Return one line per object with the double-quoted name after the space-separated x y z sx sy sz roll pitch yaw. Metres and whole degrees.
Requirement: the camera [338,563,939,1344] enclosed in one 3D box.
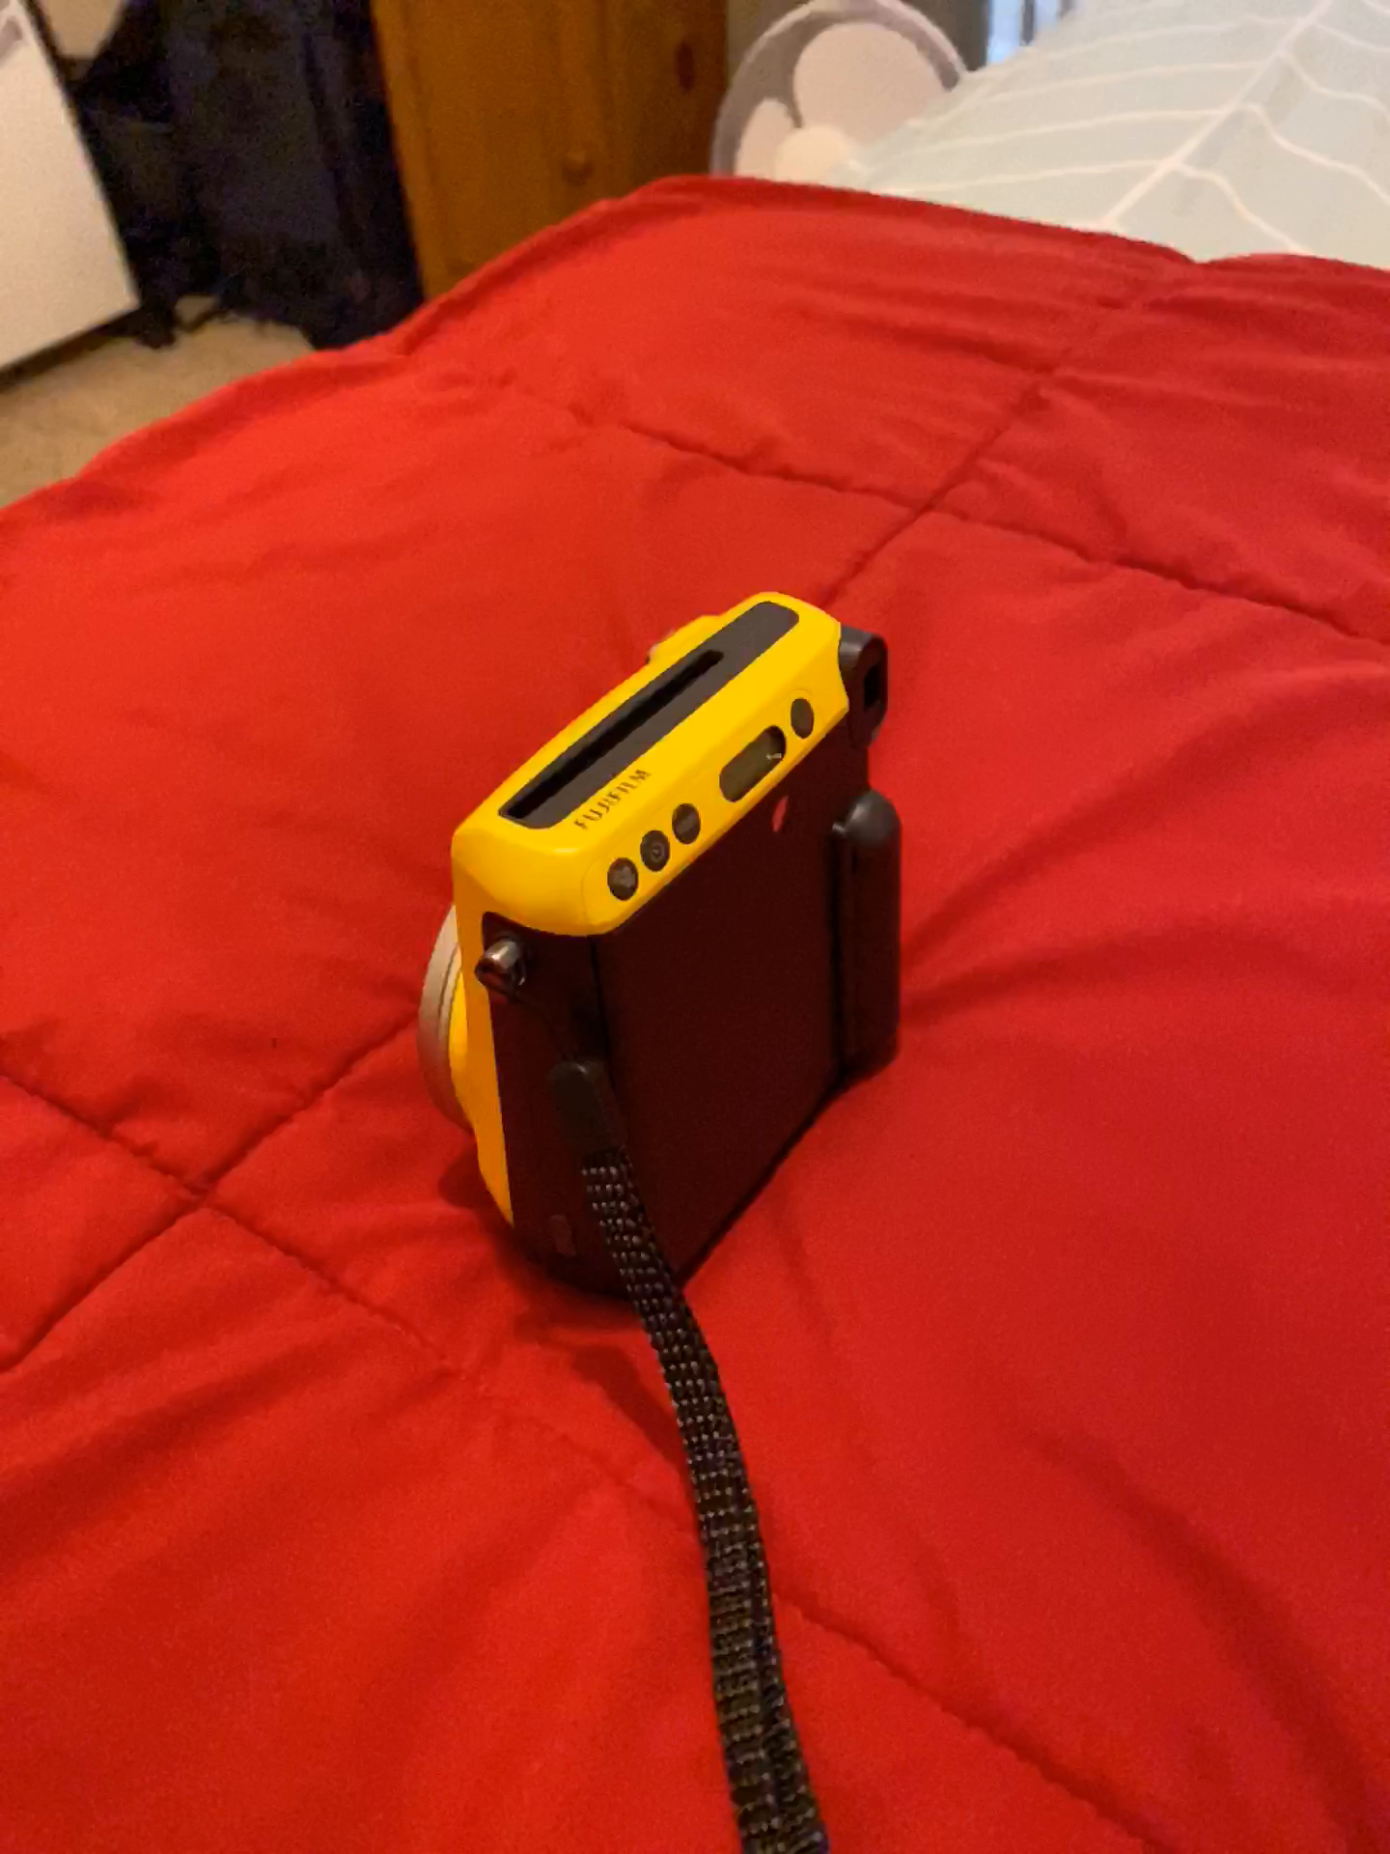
-0.004 0.003 0.278 0.057 0.103 0.095 23 48 27 "camera"
